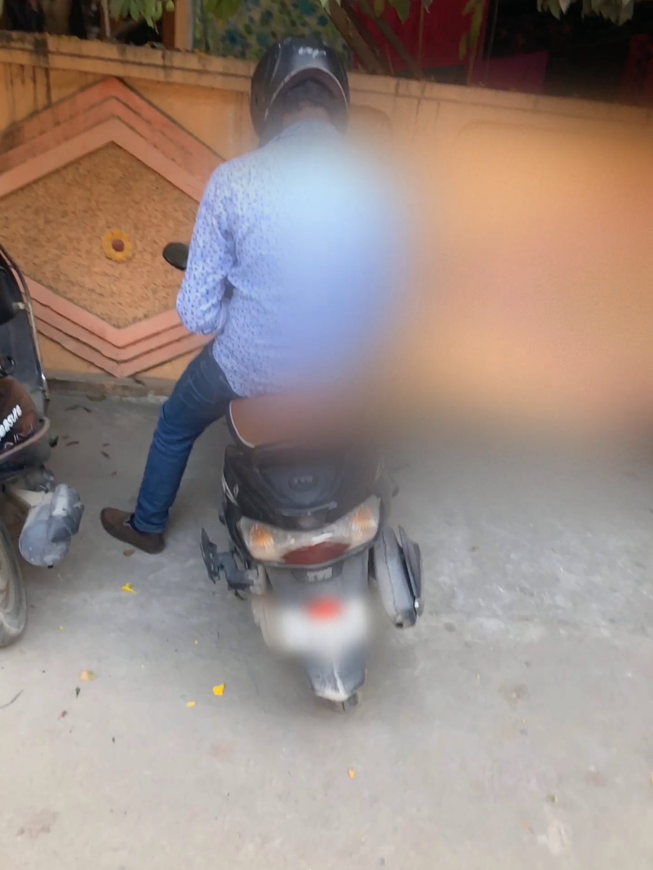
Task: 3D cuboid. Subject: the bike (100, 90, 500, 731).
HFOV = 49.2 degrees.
[{"bbox_3d":[-0.242,-0.183,1.961,0.629,1.037,1.326,-2,33,-18],"label":"bike"}]
